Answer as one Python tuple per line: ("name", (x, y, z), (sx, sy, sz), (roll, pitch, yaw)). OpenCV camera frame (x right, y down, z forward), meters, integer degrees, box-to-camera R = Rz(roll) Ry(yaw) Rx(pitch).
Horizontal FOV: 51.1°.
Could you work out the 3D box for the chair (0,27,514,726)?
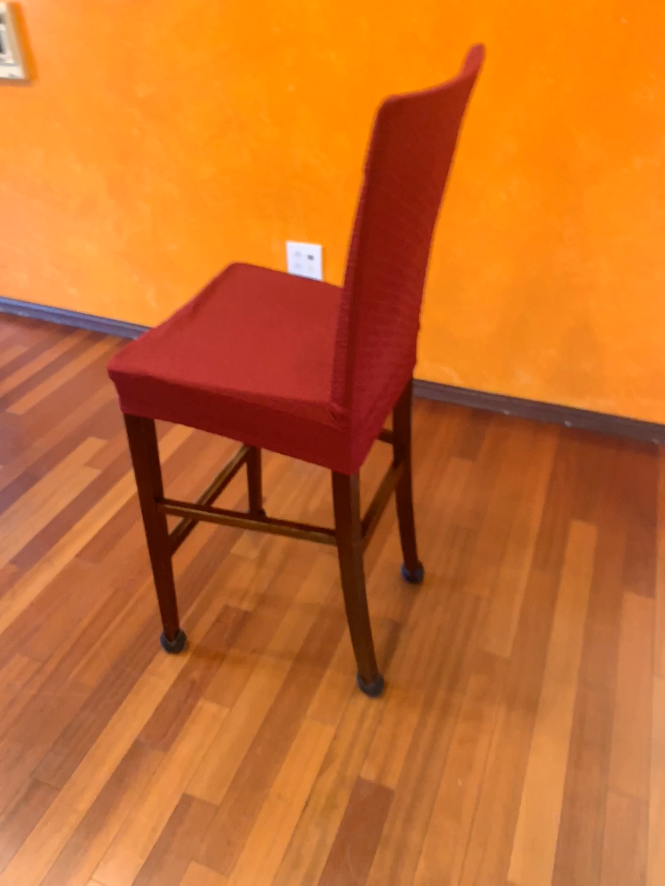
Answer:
("chair", (-0.065, -0.089, 1.195), (0.512, 1.027, 0.465), (13, 38, 17))
